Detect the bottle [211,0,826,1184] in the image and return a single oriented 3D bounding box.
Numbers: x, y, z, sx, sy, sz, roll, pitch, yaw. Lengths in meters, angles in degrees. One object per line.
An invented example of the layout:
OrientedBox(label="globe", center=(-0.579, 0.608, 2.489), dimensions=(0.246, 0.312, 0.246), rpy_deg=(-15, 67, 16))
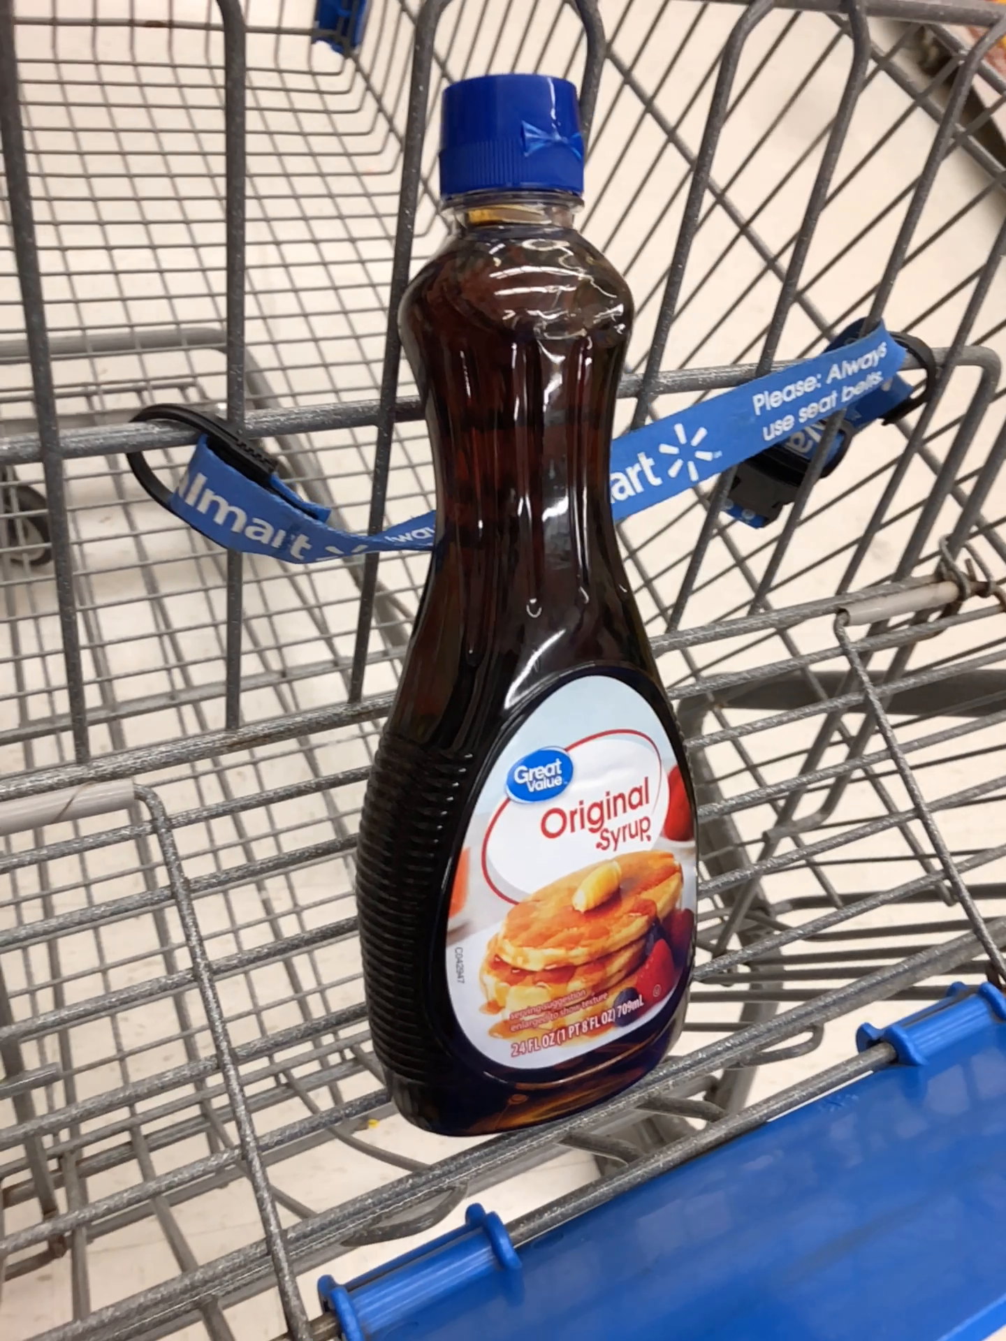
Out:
OrientedBox(label="bottle", center=(0.010, -0.018, 0.289), dimensions=(0.120, 0.070, 0.250), rpy_deg=(-11, 103, -25))
